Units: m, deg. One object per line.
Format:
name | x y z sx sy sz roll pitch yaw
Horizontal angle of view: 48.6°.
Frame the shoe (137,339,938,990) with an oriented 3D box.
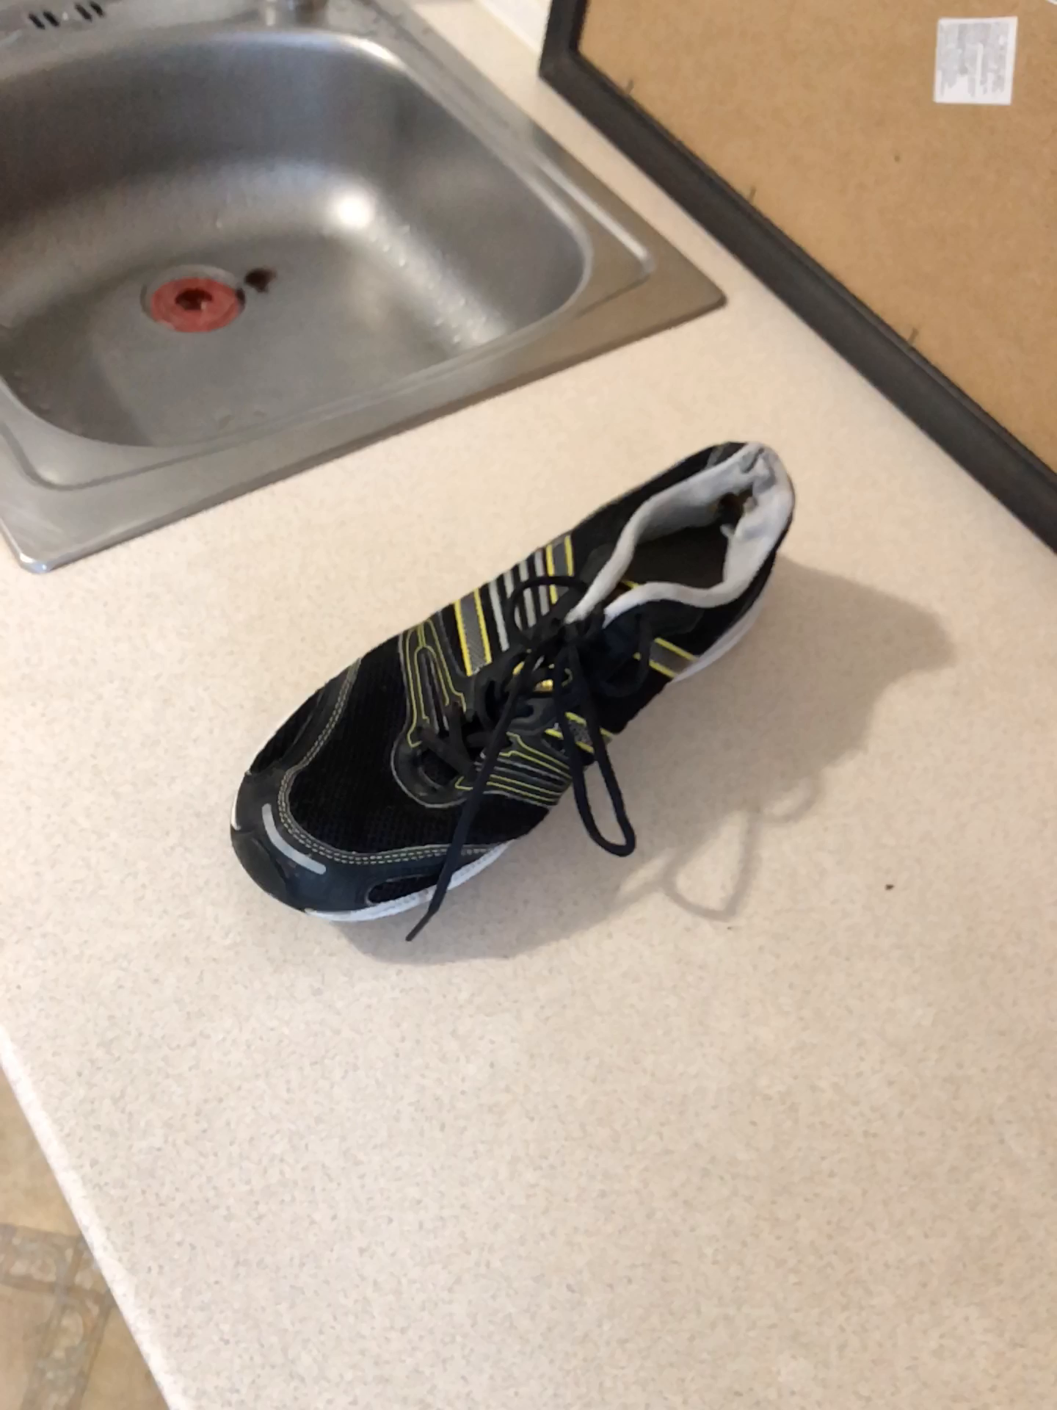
shoe | 0.013 -0.030 0.491 0.311 0.099 0.110 -31 66 -26
